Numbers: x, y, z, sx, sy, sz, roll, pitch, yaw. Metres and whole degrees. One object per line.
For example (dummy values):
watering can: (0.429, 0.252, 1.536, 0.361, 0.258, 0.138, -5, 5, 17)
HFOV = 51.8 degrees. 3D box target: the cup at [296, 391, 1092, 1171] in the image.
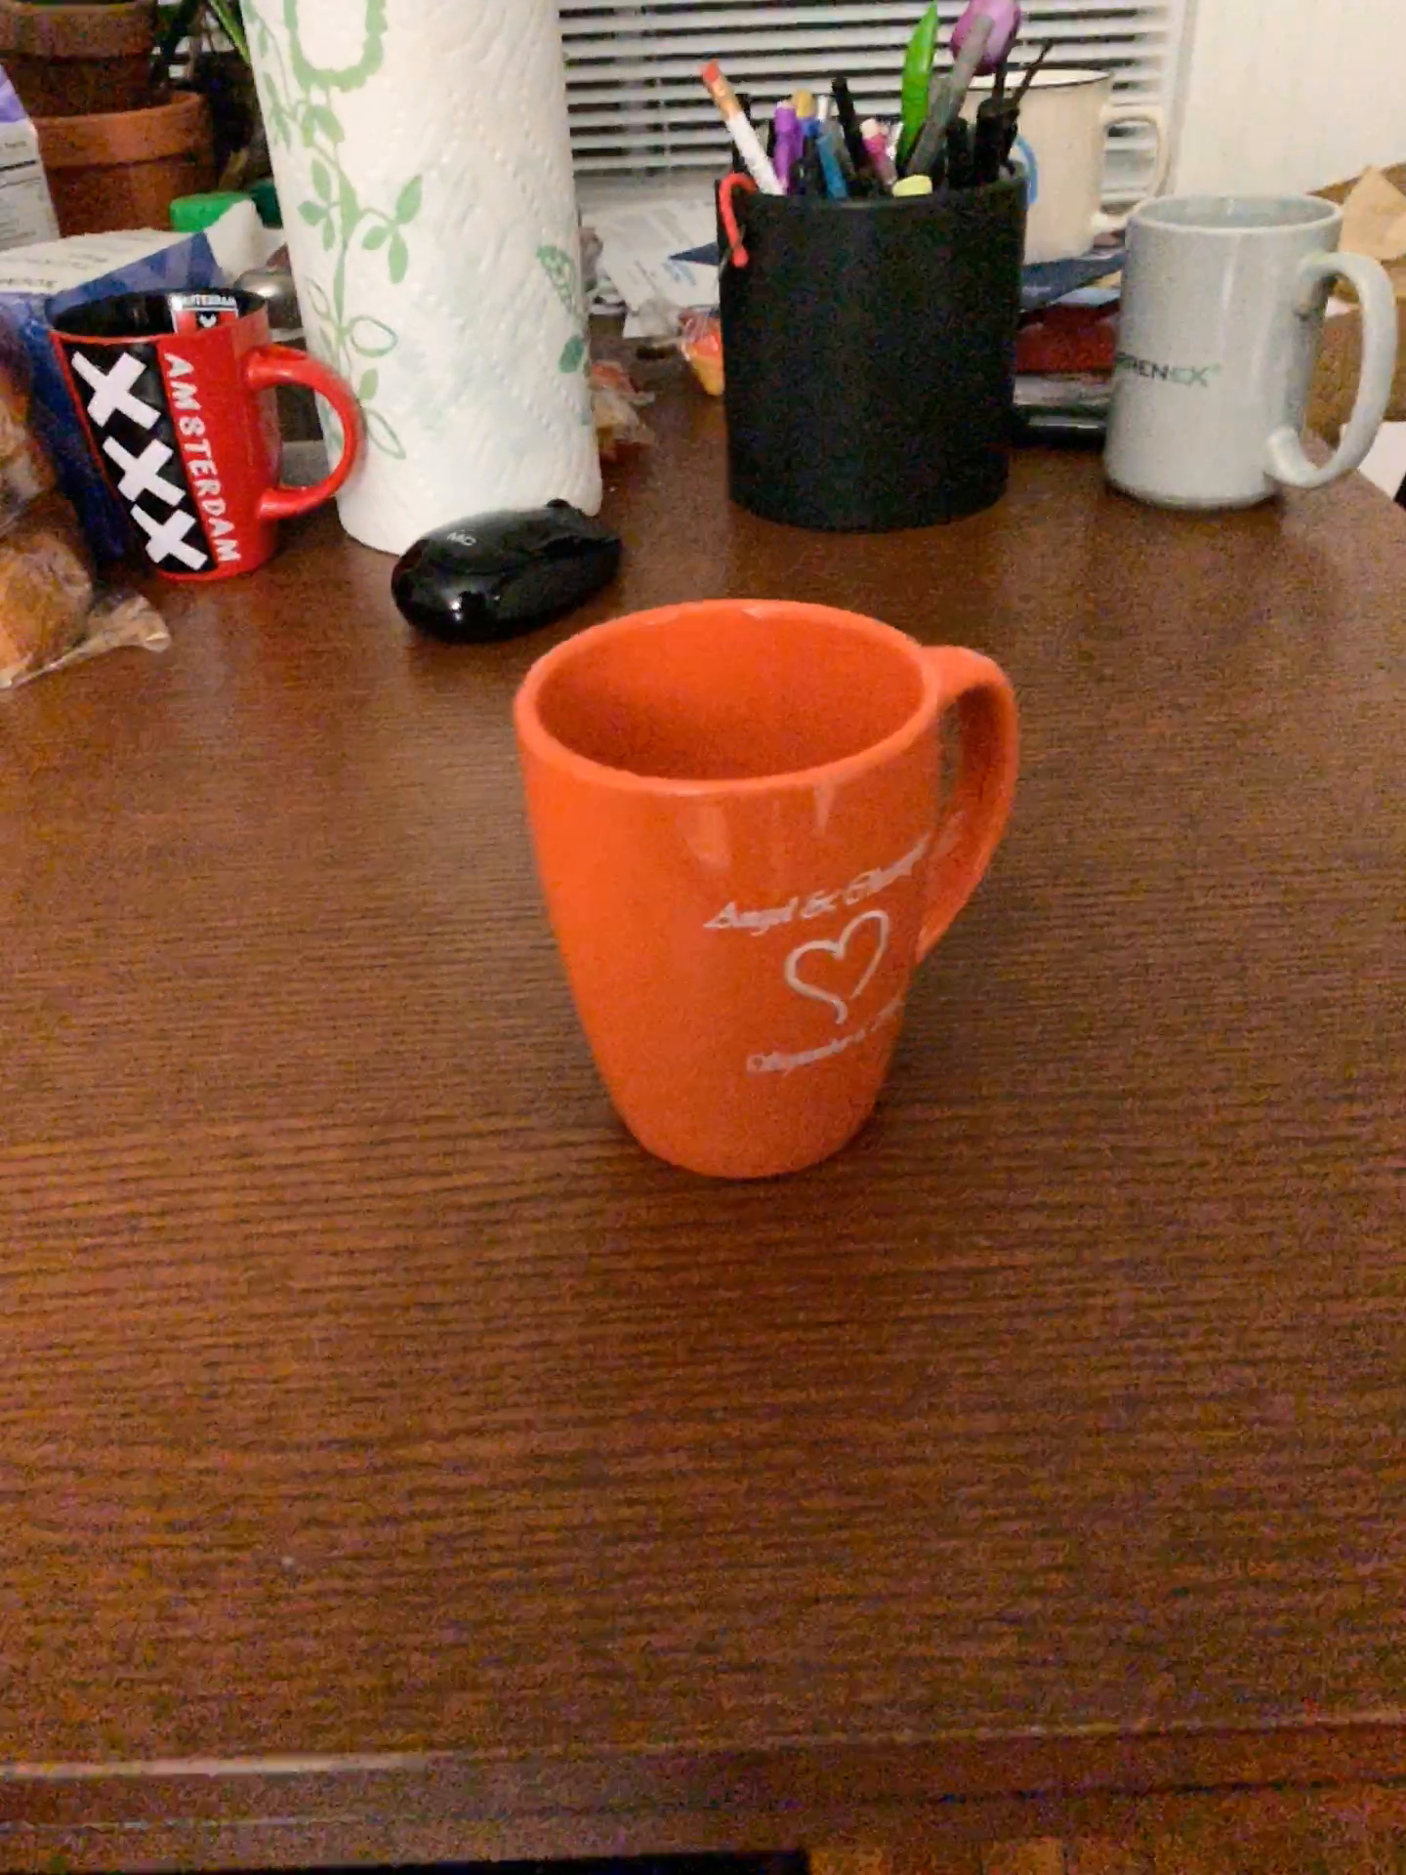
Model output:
cup: (0.001, -0.045, 0.329, 0.130, 0.109, 0.100, -29, 43, -31)
